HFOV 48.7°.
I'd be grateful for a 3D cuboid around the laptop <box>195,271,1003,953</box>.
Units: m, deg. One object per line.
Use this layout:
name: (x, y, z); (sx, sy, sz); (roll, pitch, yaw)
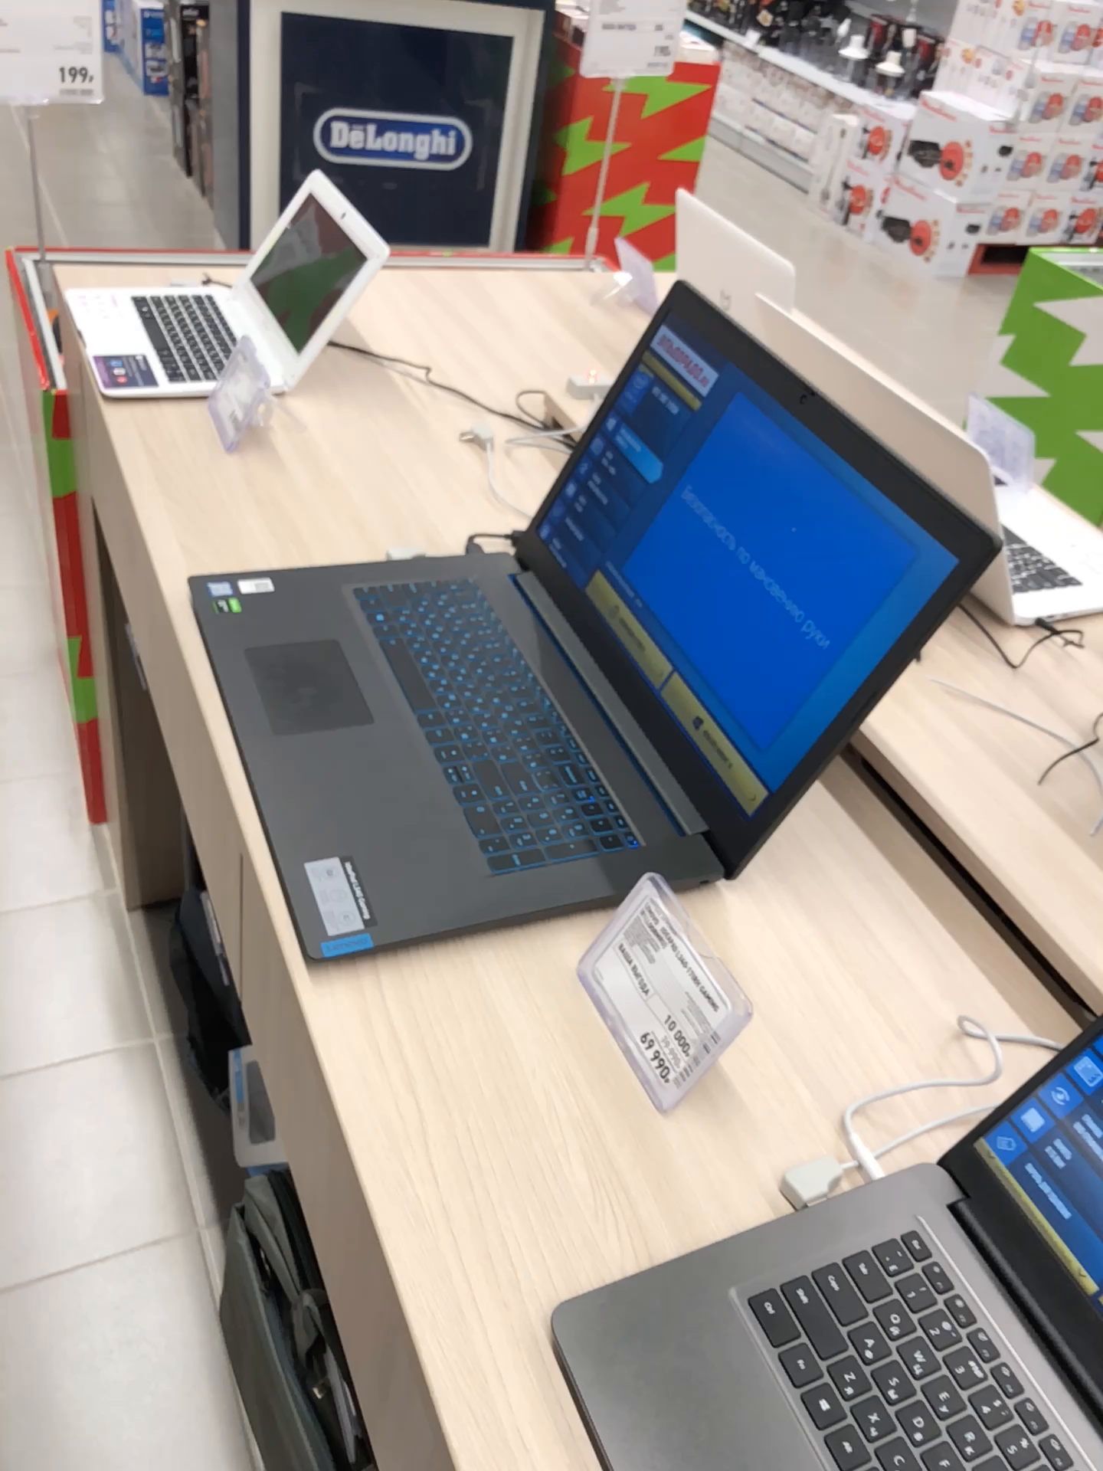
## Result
laptop: (-0.011, -0.119, 0.829); (0.381, 0.242, 0.396); (-8, 42, -23)
